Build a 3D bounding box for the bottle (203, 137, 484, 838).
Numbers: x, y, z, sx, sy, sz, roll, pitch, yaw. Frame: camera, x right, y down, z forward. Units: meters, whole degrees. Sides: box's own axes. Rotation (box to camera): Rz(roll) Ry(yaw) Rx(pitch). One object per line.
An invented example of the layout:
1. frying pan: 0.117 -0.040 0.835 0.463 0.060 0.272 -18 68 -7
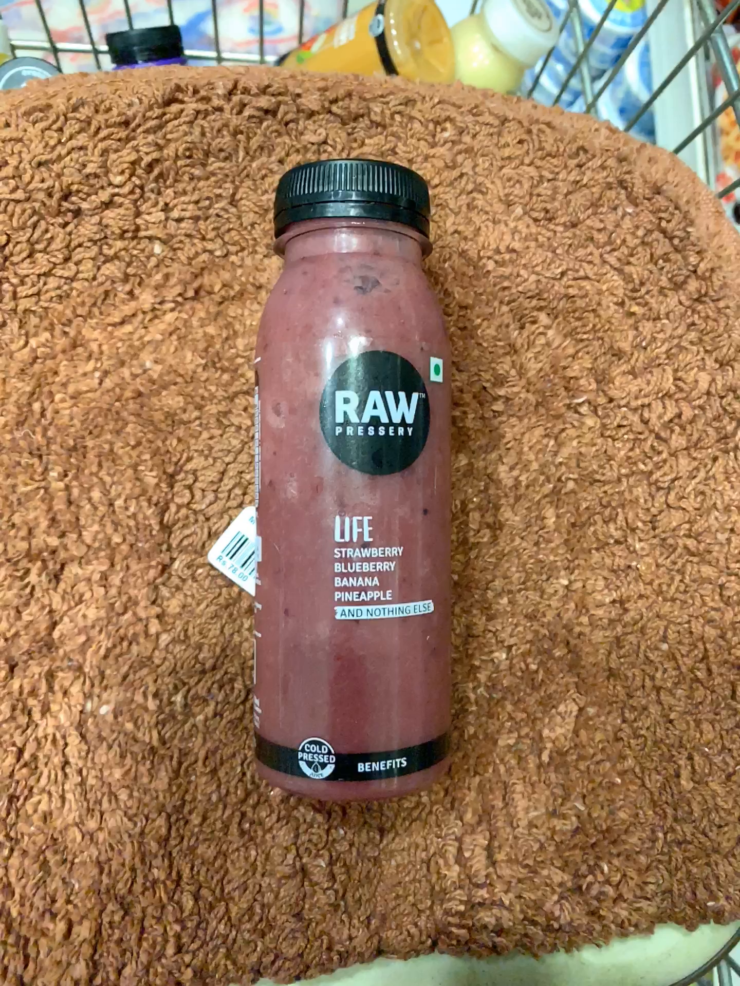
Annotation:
1. bottle: -0.010 -0.001 0.197 0.060 0.050 0.150 0 89 -16
